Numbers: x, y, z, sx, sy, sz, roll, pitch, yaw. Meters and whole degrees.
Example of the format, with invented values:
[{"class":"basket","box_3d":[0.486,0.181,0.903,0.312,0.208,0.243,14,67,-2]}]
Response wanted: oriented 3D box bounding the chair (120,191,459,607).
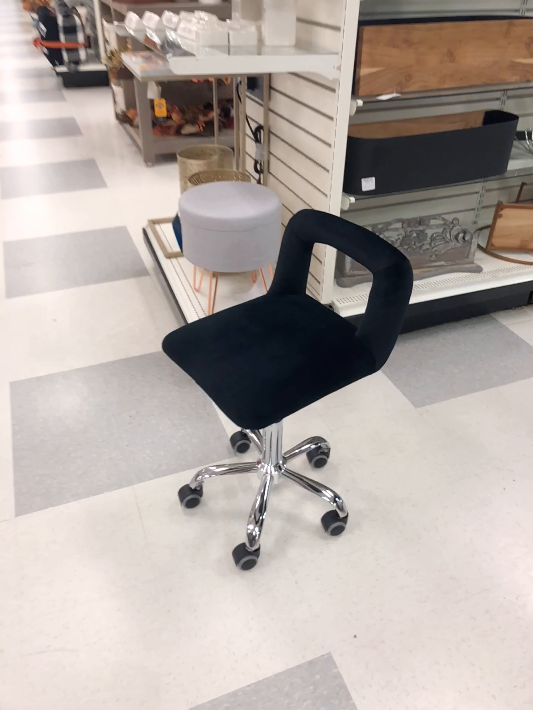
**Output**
[{"class":"chair","box_3d":[0.032,0.077,1.345,0.485,0.694,0.463,-22,41,-28]}]
